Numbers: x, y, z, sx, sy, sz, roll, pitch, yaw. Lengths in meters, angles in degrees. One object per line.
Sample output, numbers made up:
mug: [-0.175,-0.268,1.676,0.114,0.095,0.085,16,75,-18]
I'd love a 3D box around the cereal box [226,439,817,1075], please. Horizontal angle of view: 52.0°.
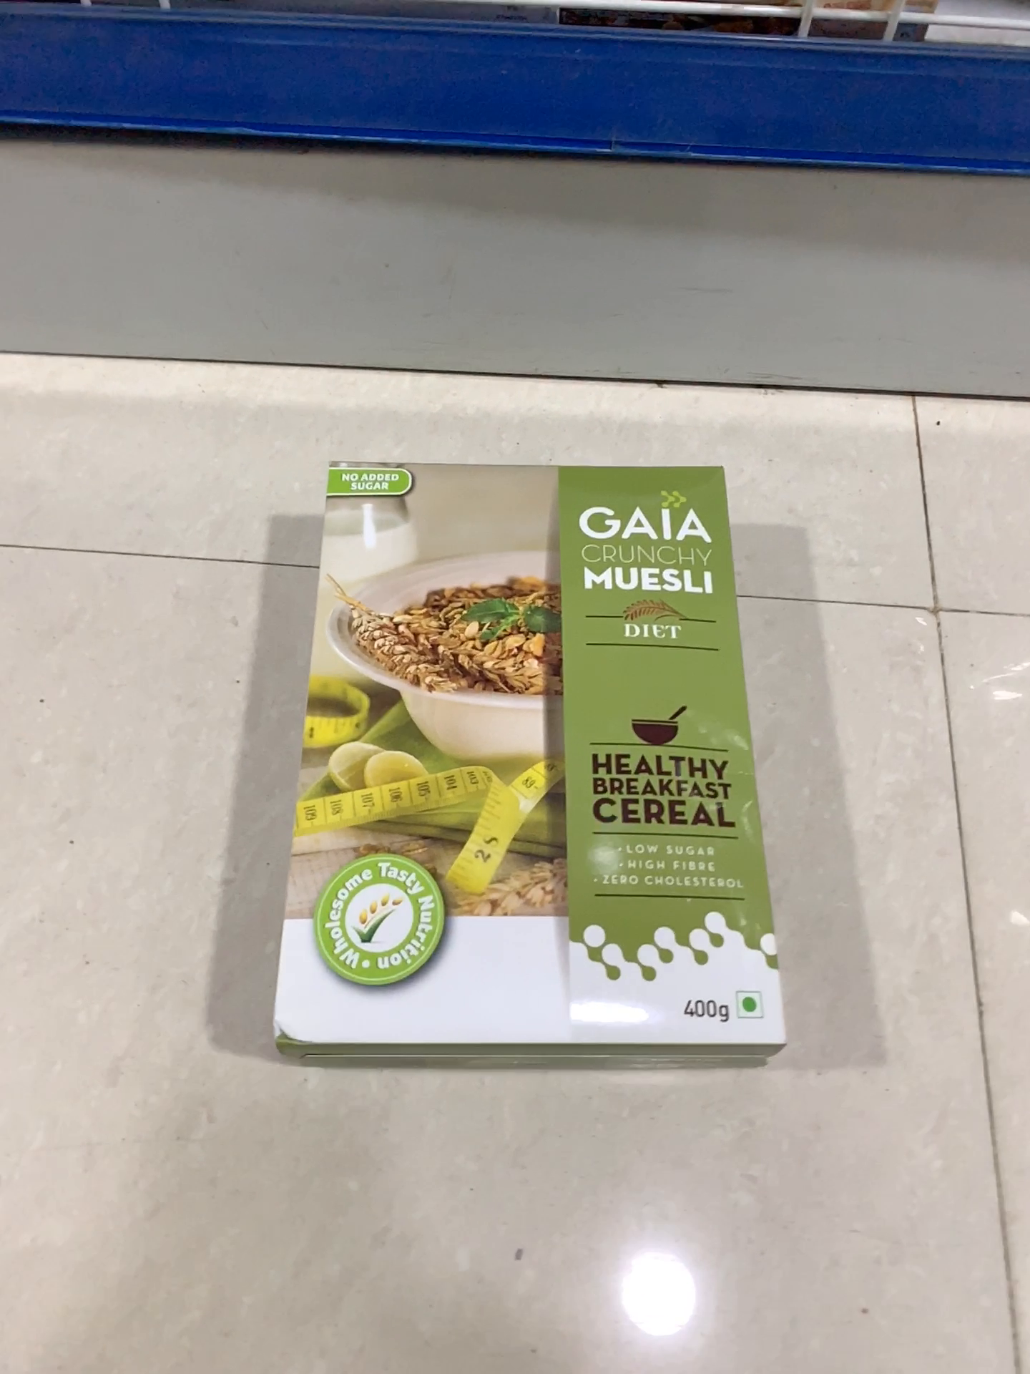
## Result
cereal box: [0.001,0.022,0.402,0.180,0.070,0.230,-1,65,0]
